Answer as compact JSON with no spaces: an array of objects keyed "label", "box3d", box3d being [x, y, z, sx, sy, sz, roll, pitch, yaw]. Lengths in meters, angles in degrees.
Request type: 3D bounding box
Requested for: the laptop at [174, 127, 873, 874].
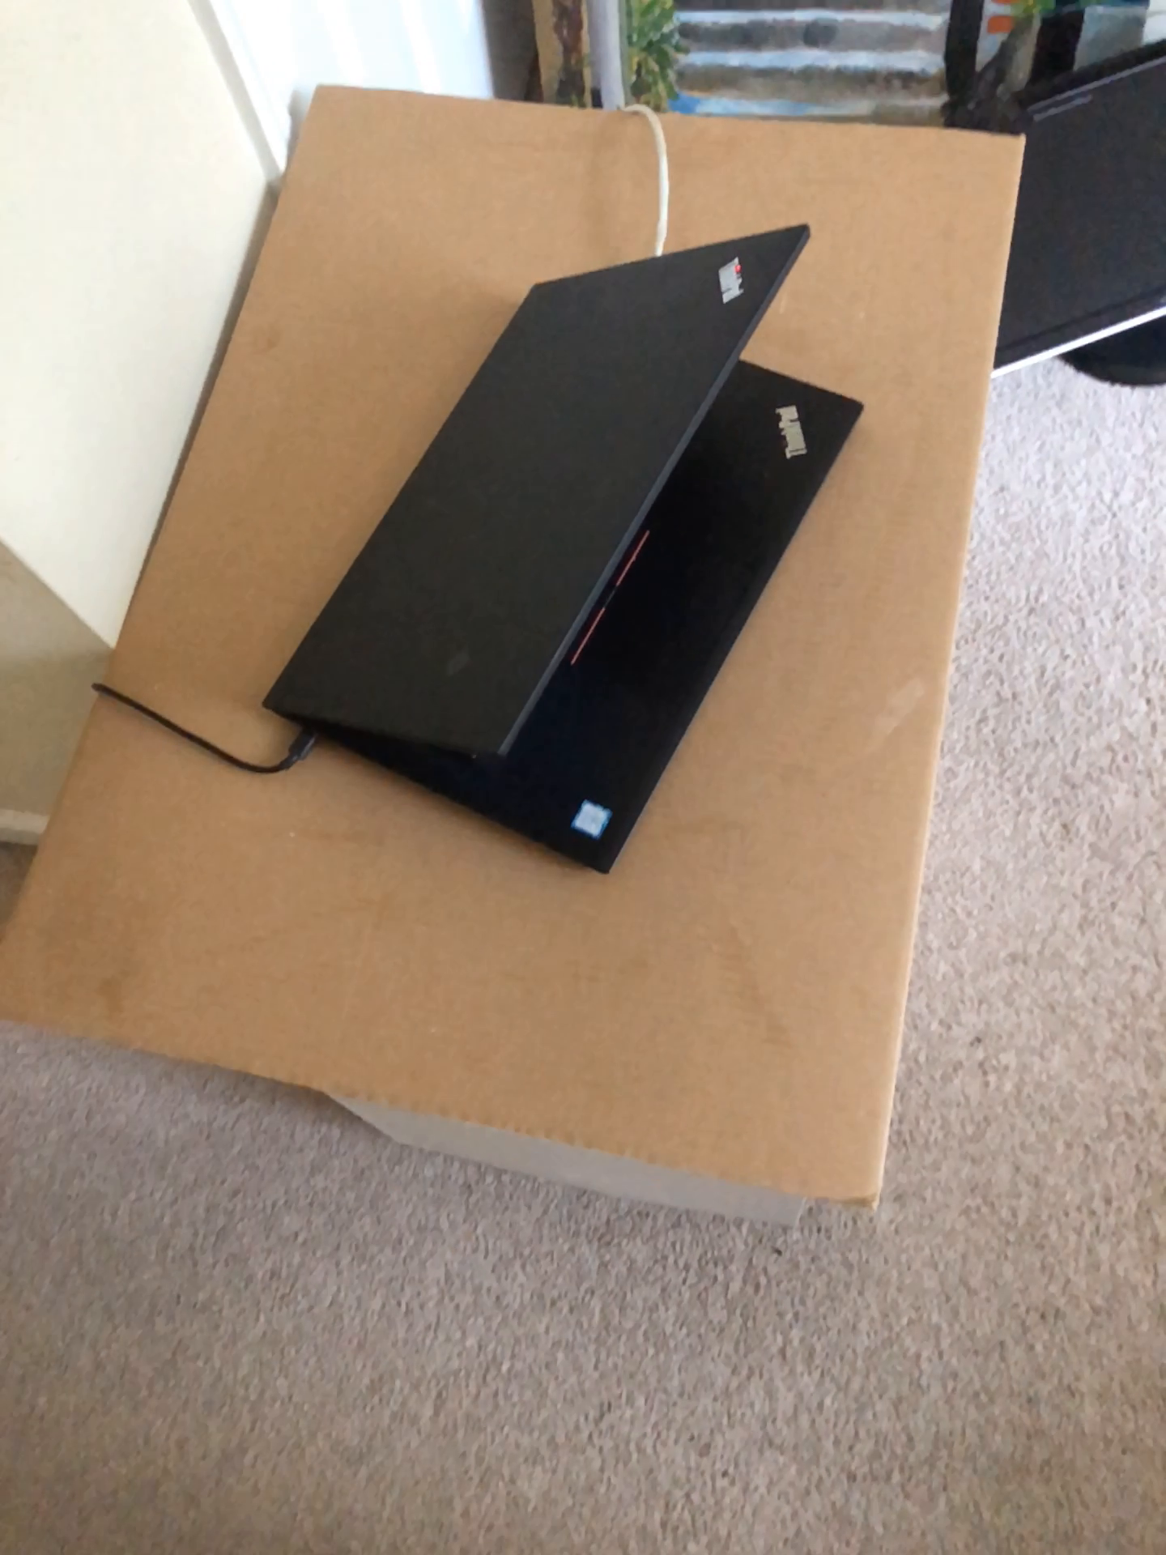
[{"label":"laptop","box3d":[-0.018,-0.160,0.717,0.231,0.140,0.334,25,74,17]}]
